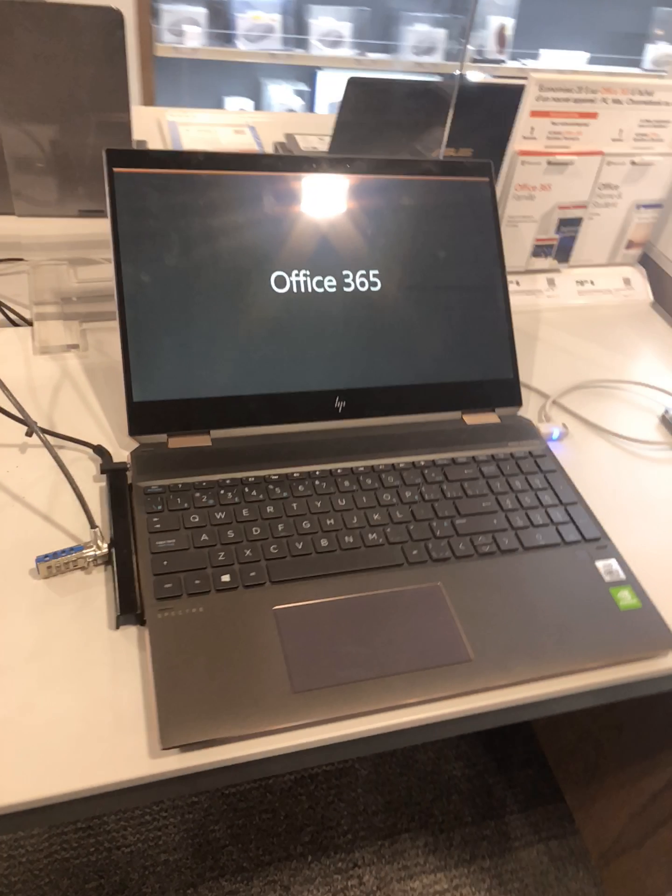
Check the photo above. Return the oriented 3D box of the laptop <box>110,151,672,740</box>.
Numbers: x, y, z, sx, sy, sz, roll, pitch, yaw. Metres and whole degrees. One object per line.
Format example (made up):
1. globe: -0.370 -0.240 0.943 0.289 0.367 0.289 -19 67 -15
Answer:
1. laptop: 0.022 -0.054 0.542 0.333 0.145 0.427 -5 46 -14
